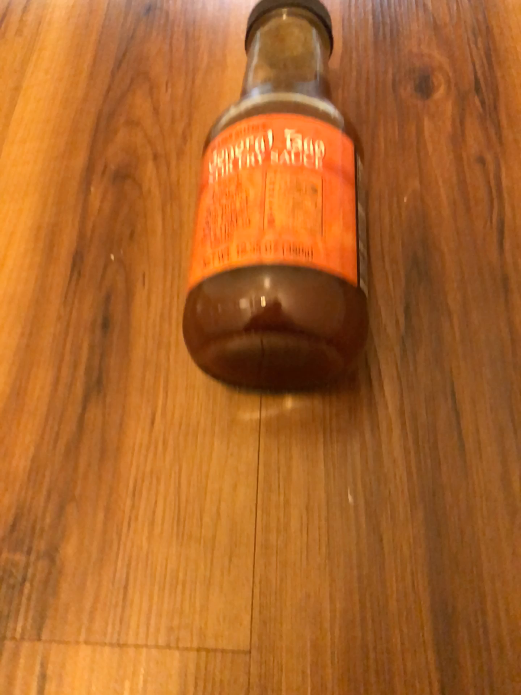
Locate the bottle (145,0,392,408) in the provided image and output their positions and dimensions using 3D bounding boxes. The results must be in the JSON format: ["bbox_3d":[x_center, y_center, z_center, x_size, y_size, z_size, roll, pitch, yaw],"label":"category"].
[{"bbox_3d":[0.010,-0.073,0.232,0.068,0.060,0.181,-5,62,14],"label":"bottle"}]
